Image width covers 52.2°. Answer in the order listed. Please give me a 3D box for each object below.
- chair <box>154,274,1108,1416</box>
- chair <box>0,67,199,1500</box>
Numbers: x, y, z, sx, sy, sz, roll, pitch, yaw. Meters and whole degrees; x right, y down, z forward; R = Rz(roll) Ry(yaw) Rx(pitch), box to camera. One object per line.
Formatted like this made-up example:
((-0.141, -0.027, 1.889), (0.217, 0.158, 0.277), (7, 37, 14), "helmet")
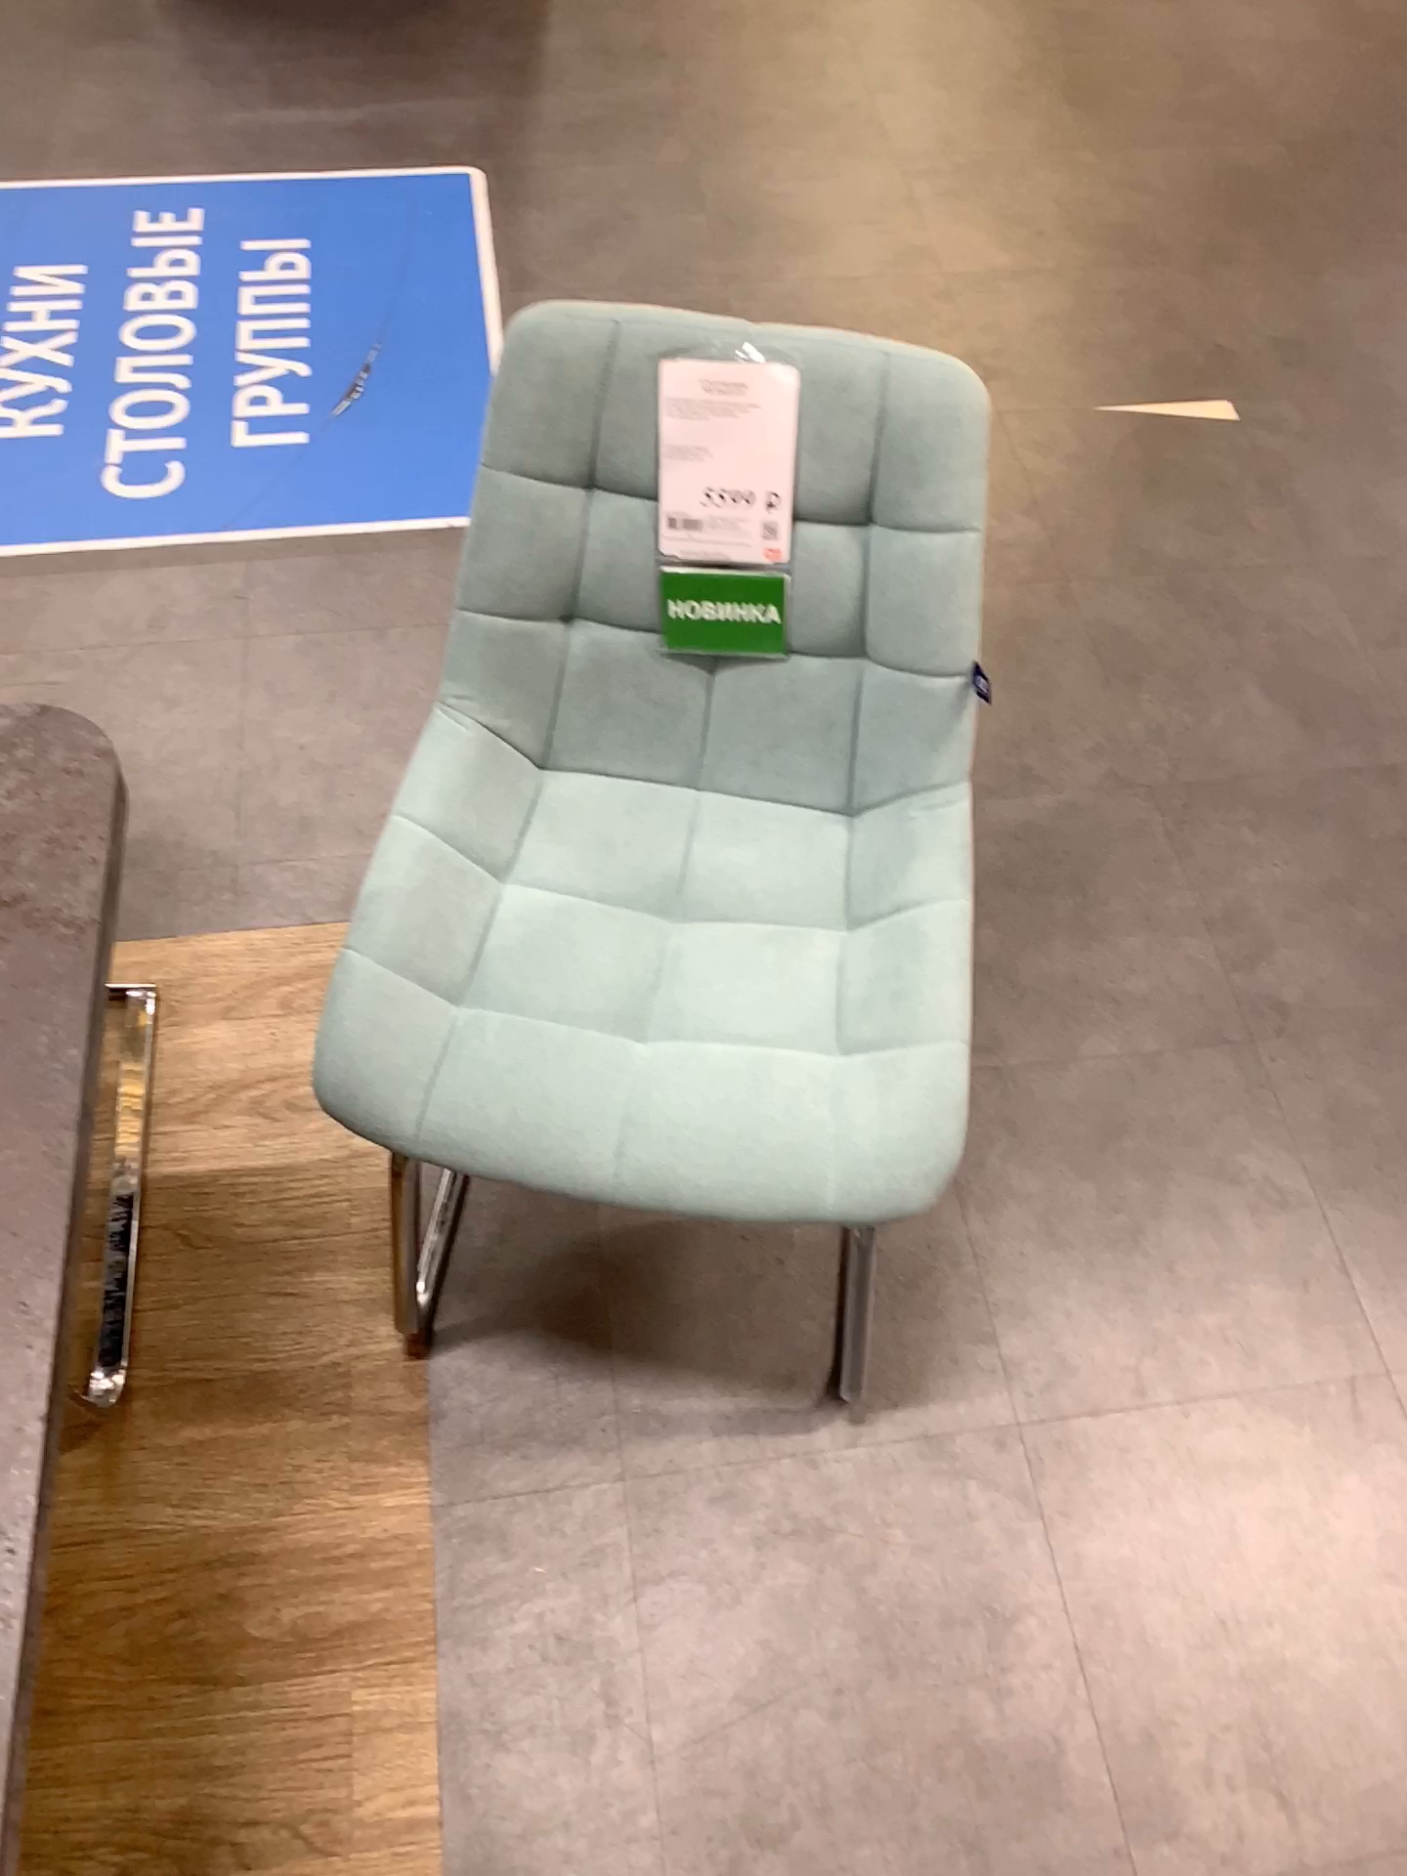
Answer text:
((-0.024, -0.010, 1.256), (0.510, 0.827, 0.552), (7, 56, 2), "chair")
((-0.812, 0.001, 1.111), (0.510, 1.007, 0.572), (-2, 56, -4), "chair")
